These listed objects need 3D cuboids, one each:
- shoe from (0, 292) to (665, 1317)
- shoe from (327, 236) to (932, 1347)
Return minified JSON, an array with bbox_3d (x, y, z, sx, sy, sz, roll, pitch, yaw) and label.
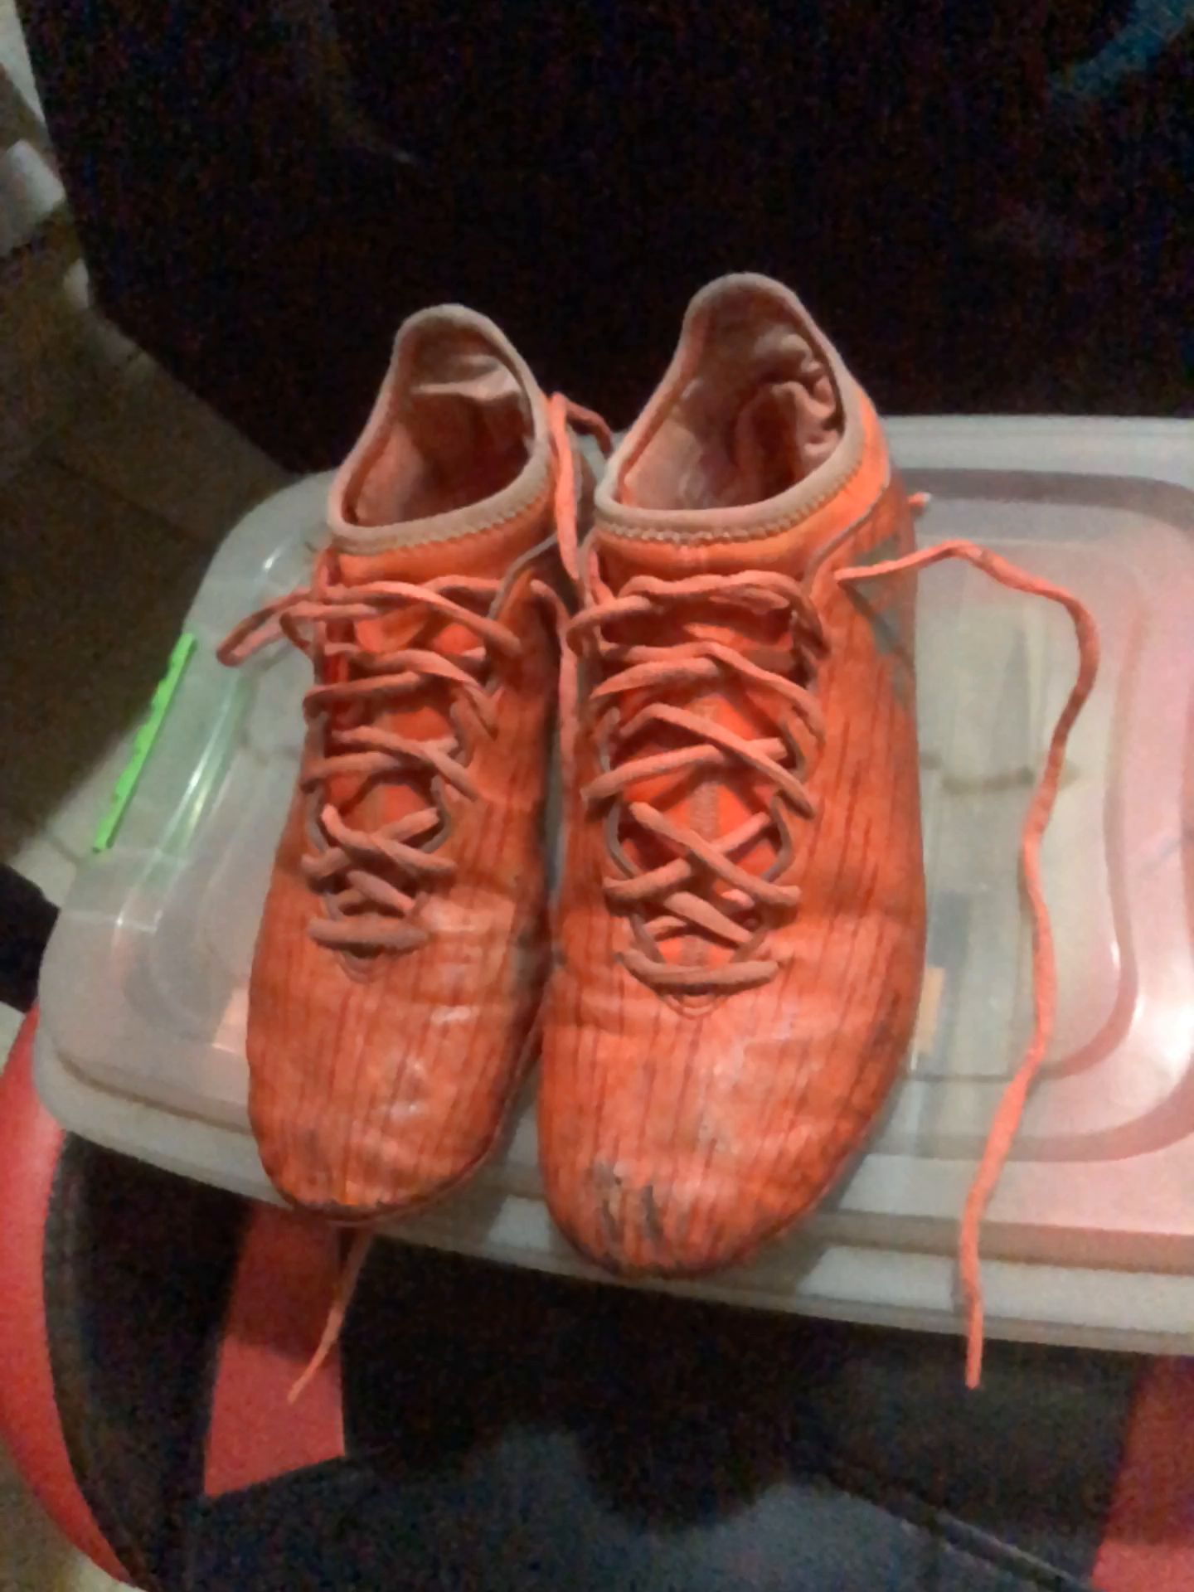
[{"bbox_3d":[-0.056,0.002,0.369,0.090,0.129,0.241,-1,61,20],"label":"shoe"},{"bbox_3d":[0.029,-0.001,0.342,0.090,0.129,0.241,-1,61,20],"label":"shoe"}]
